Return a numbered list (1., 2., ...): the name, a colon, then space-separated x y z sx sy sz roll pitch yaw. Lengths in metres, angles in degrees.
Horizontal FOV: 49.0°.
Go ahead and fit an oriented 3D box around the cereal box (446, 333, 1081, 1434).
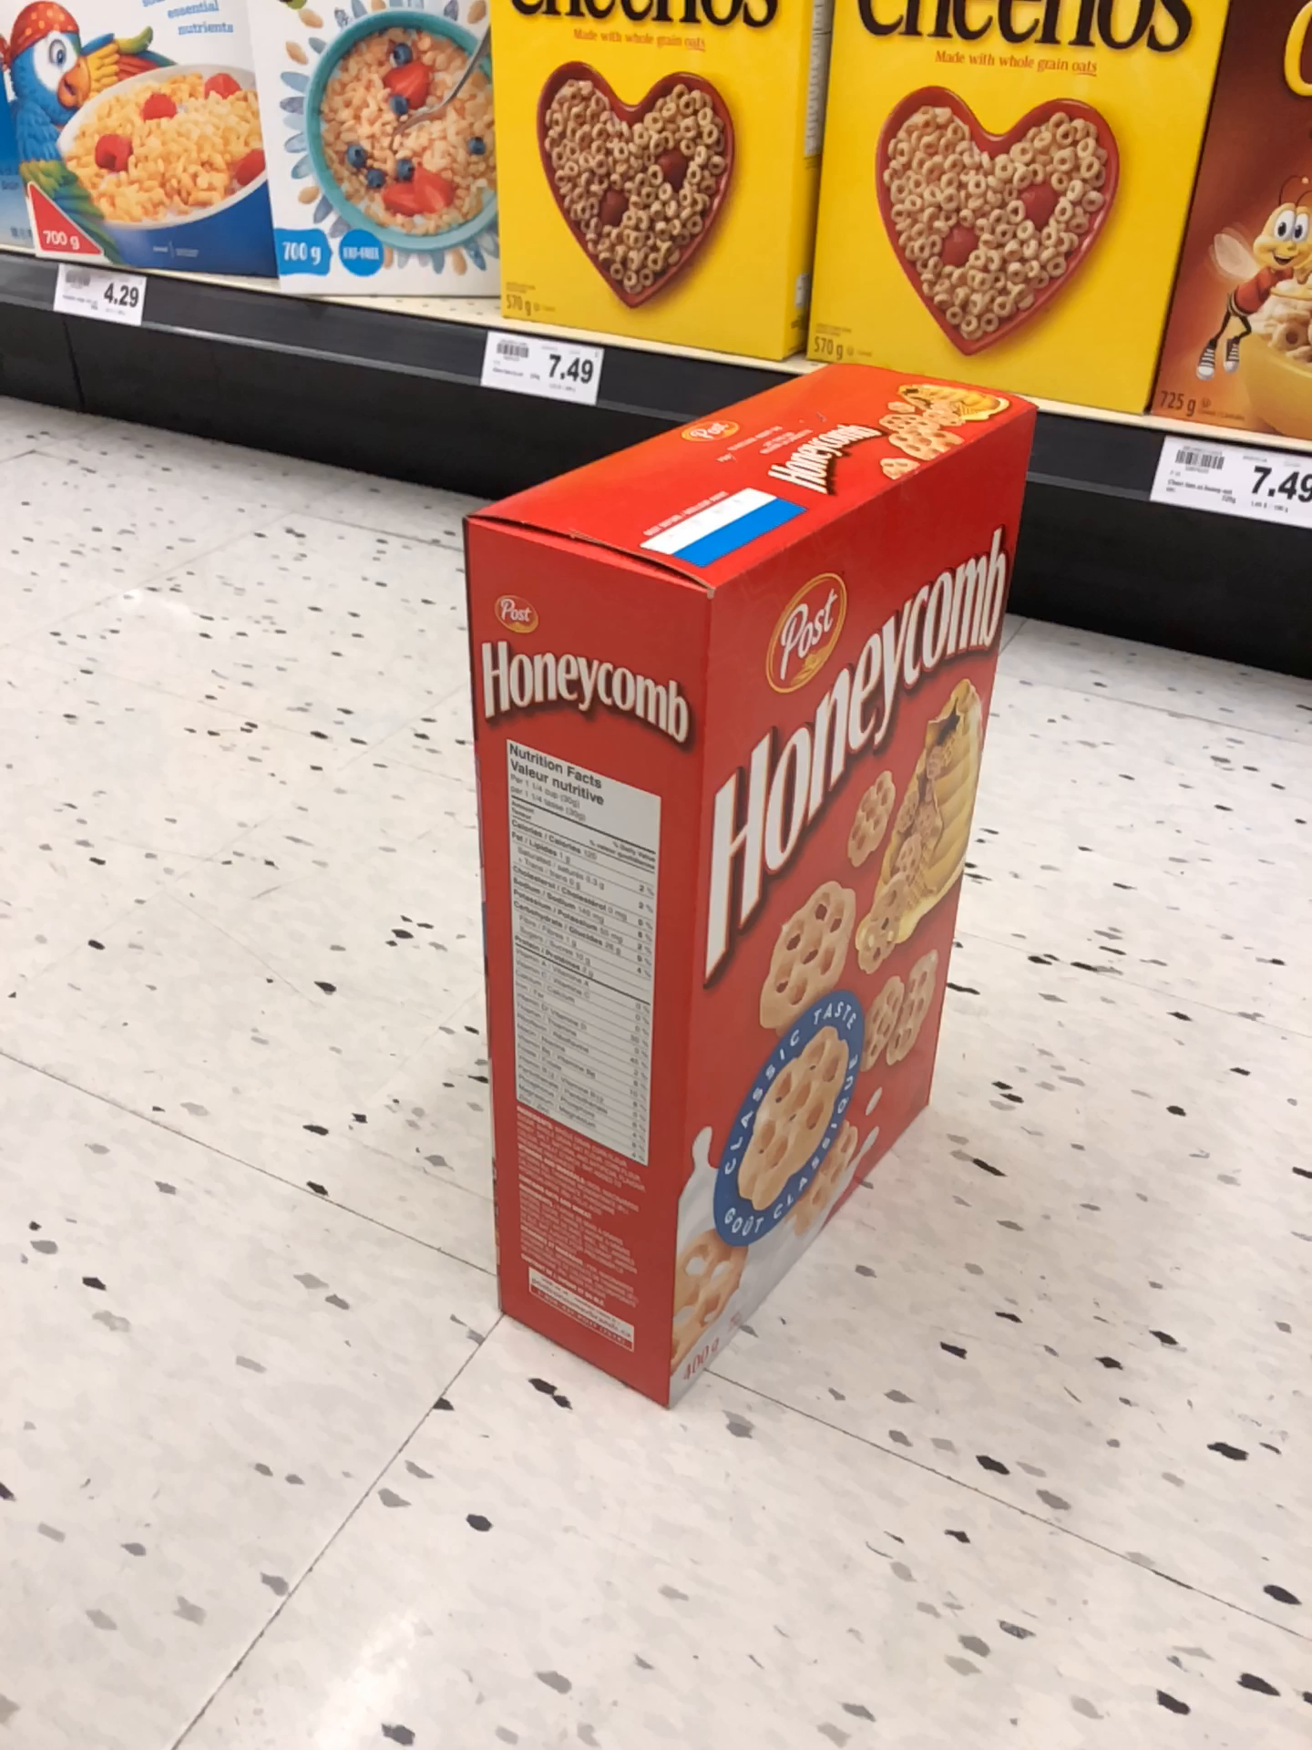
1. cereal box: 0.037 0.001 0.477 0.080 0.298 0.201 23 39 28
